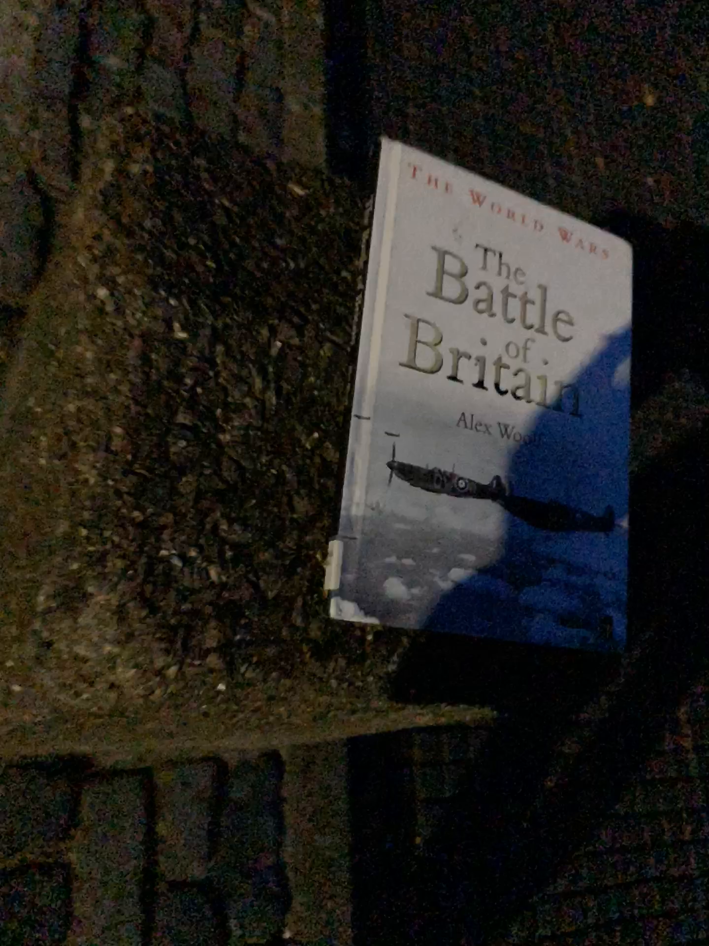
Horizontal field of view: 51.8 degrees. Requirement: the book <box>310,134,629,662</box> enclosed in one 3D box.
[{"bbox_3d":[0.073,-0.035,0.384,0.170,0.020,0.245,13,75,-25],"label":"book"}]
